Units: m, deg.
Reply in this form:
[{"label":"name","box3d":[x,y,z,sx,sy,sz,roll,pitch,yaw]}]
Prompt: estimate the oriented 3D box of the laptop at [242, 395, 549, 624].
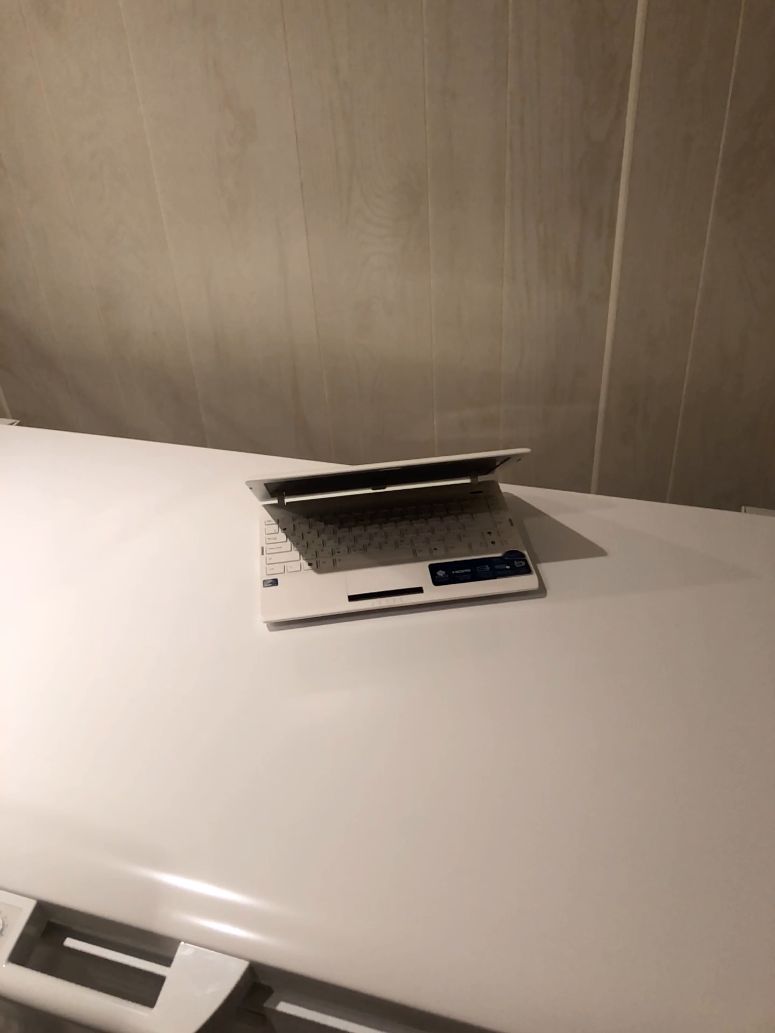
[{"label":"laptop","box3d":[0.000,-0.015,0.942,0.298,0.115,0.199,-7,38,-5]}]
